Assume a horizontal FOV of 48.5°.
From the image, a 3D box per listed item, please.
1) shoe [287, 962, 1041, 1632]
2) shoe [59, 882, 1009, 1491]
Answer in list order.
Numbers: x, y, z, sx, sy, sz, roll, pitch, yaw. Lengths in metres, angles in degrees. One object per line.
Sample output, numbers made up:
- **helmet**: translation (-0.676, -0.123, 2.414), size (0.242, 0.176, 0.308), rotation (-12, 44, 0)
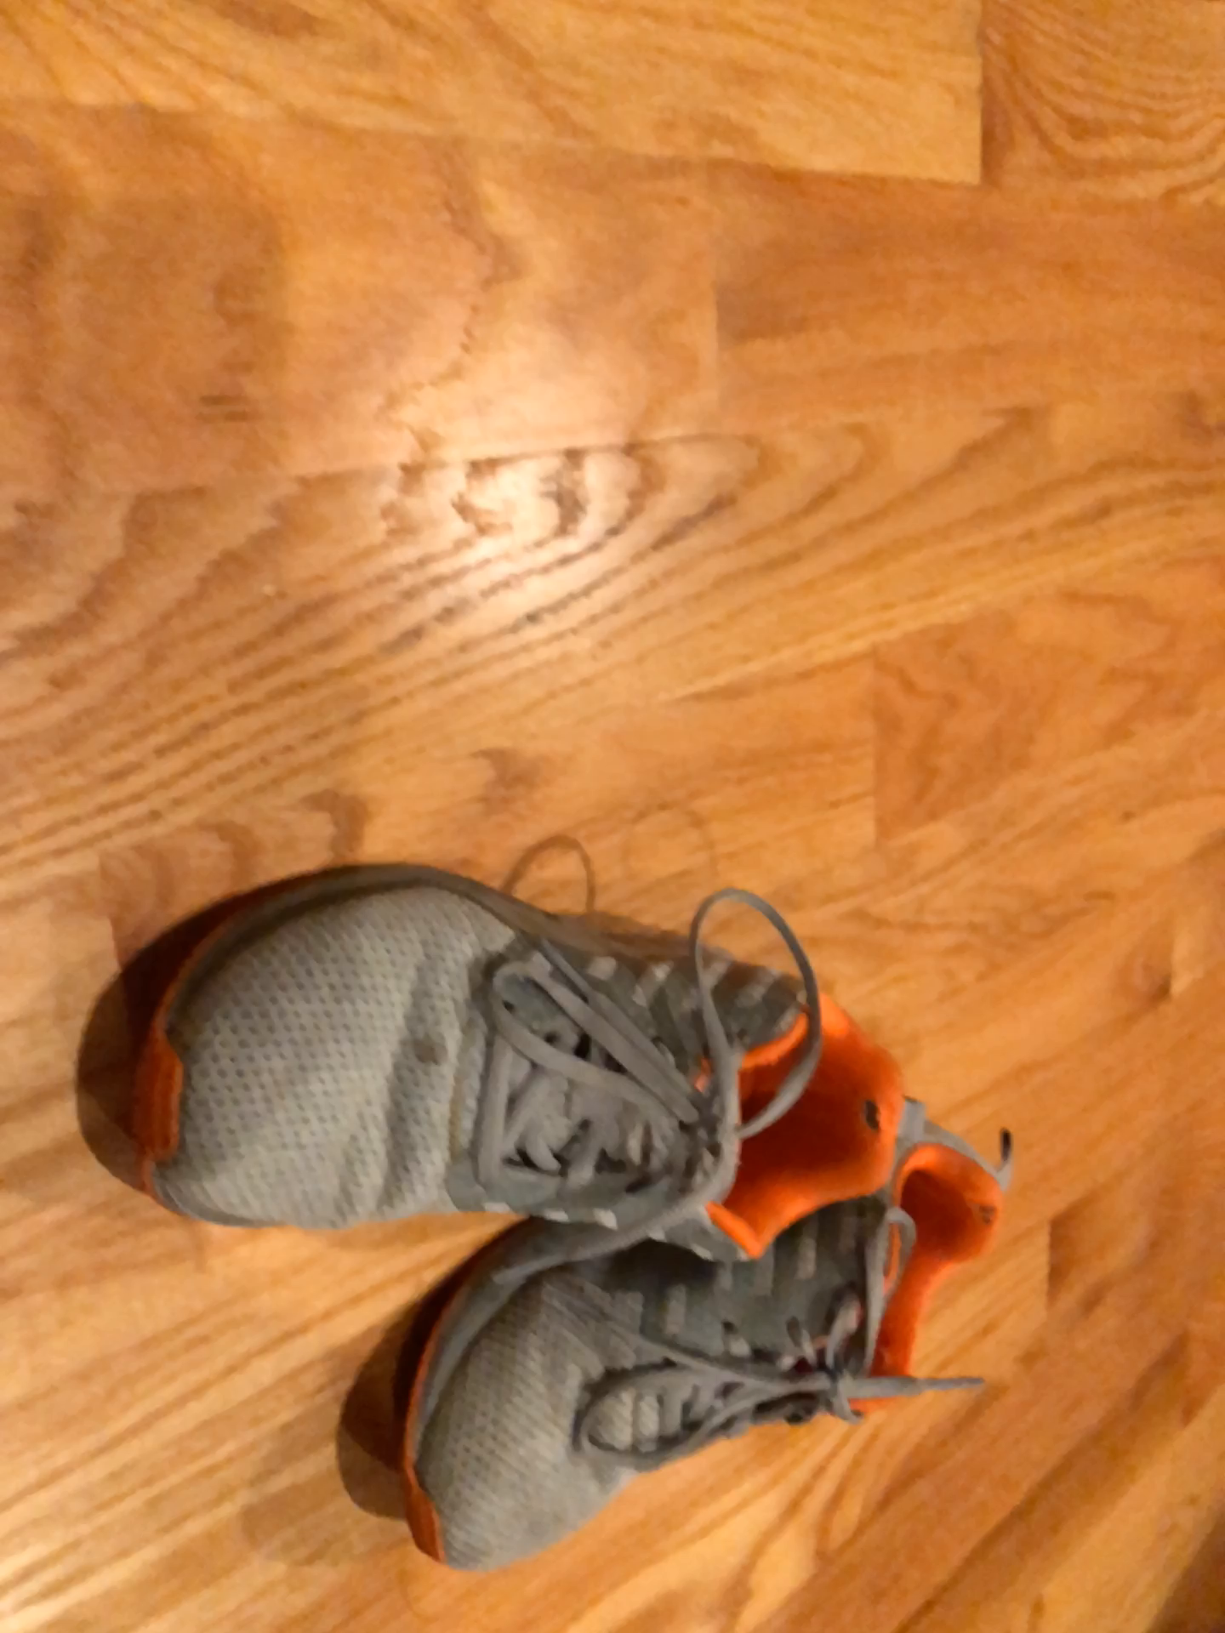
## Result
- **shoe**: translation (0.035, 0.158, 0.443), size (0.251, 0.080, 0.110), rotation (-26, 117, -37)
- **shoe**: translation (-0.006, 0.078, 0.383), size (0.251, 0.100, 0.100), rotation (2, 98, -44)
